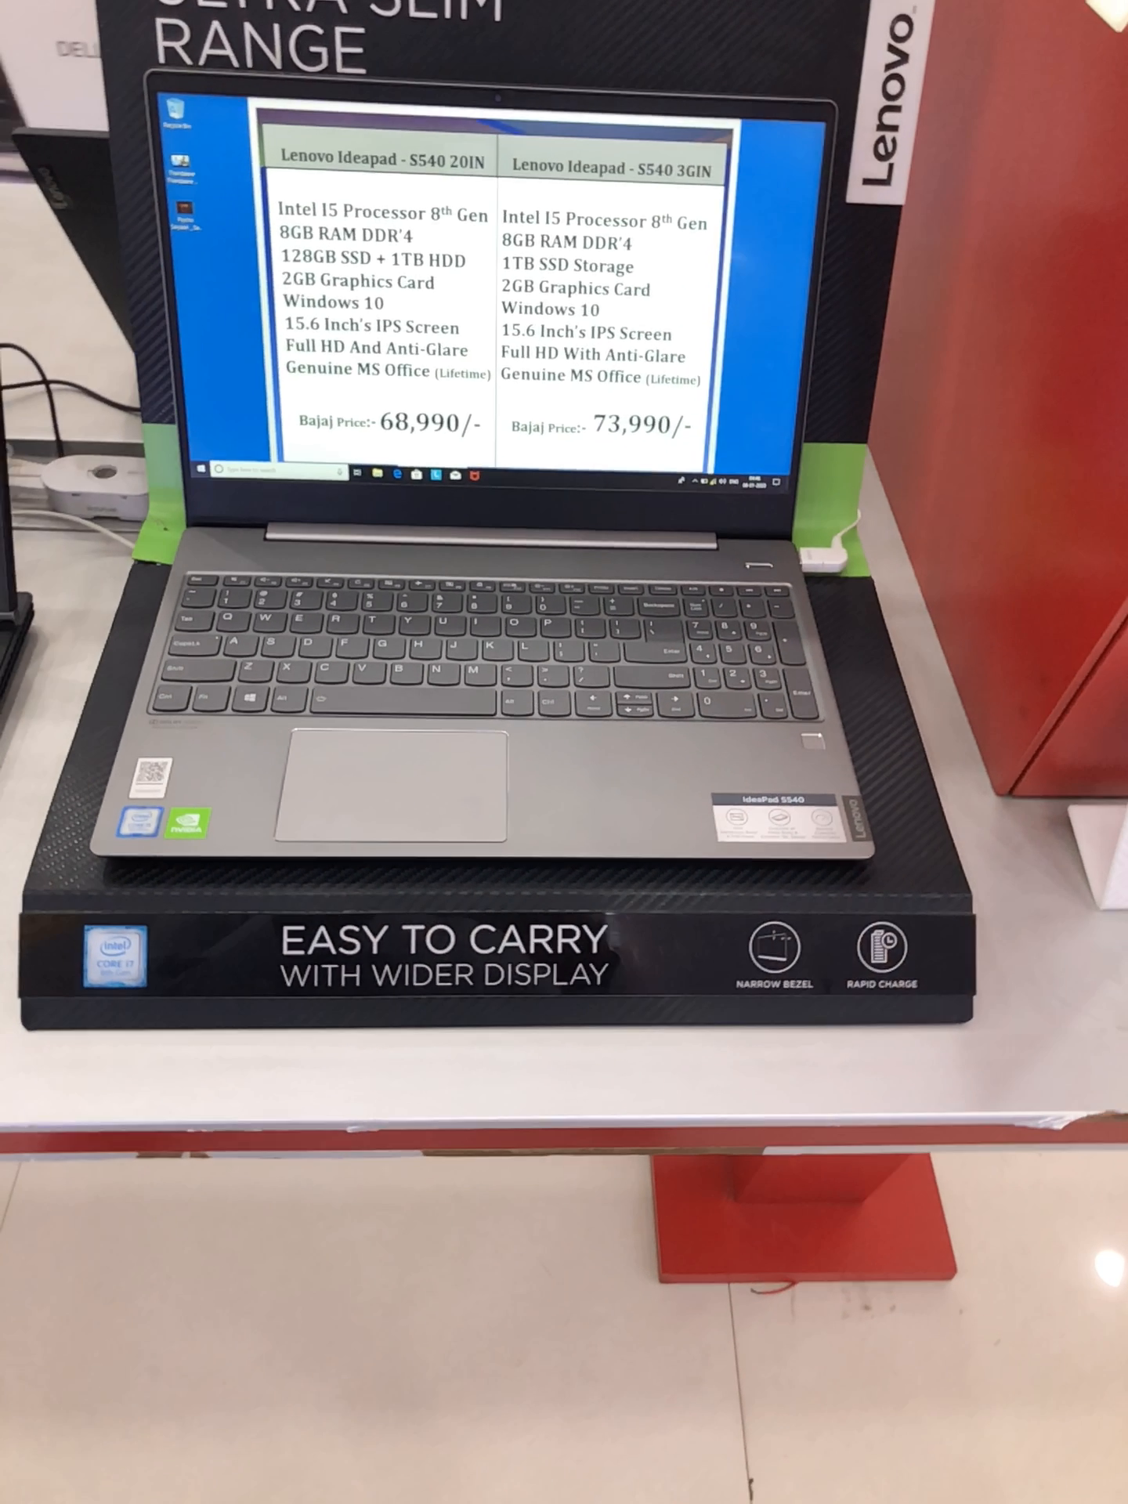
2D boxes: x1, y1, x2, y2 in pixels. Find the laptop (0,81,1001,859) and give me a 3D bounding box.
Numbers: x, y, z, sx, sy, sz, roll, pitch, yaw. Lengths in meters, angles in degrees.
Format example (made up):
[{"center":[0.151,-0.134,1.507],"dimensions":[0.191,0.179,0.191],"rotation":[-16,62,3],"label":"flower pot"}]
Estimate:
[{"center":[-0.031,-0.142,0.582],"dimensions":[0.336,0.194,0.325],"rotation":[0,48,-4],"label":"laptop"}]
